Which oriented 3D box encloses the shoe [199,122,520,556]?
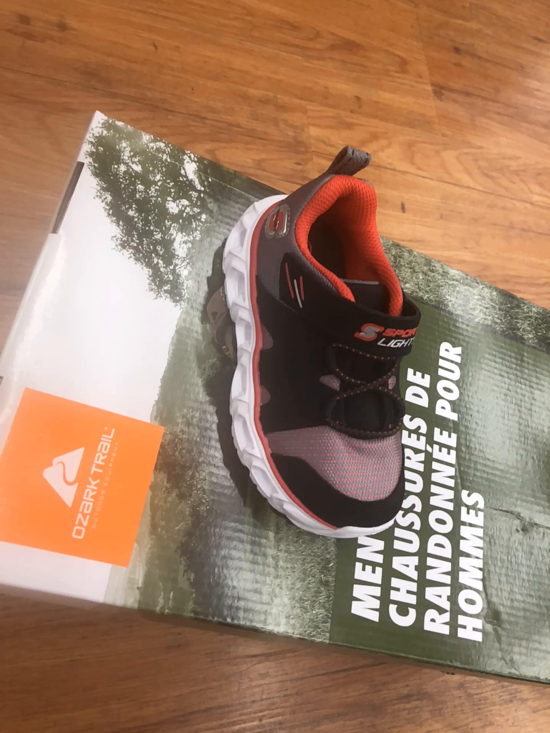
[{"bbox_3d":[0.028,-0.007,0.288,0.090,0.090,0.170,1,71,-25],"label":"shoe"}]
